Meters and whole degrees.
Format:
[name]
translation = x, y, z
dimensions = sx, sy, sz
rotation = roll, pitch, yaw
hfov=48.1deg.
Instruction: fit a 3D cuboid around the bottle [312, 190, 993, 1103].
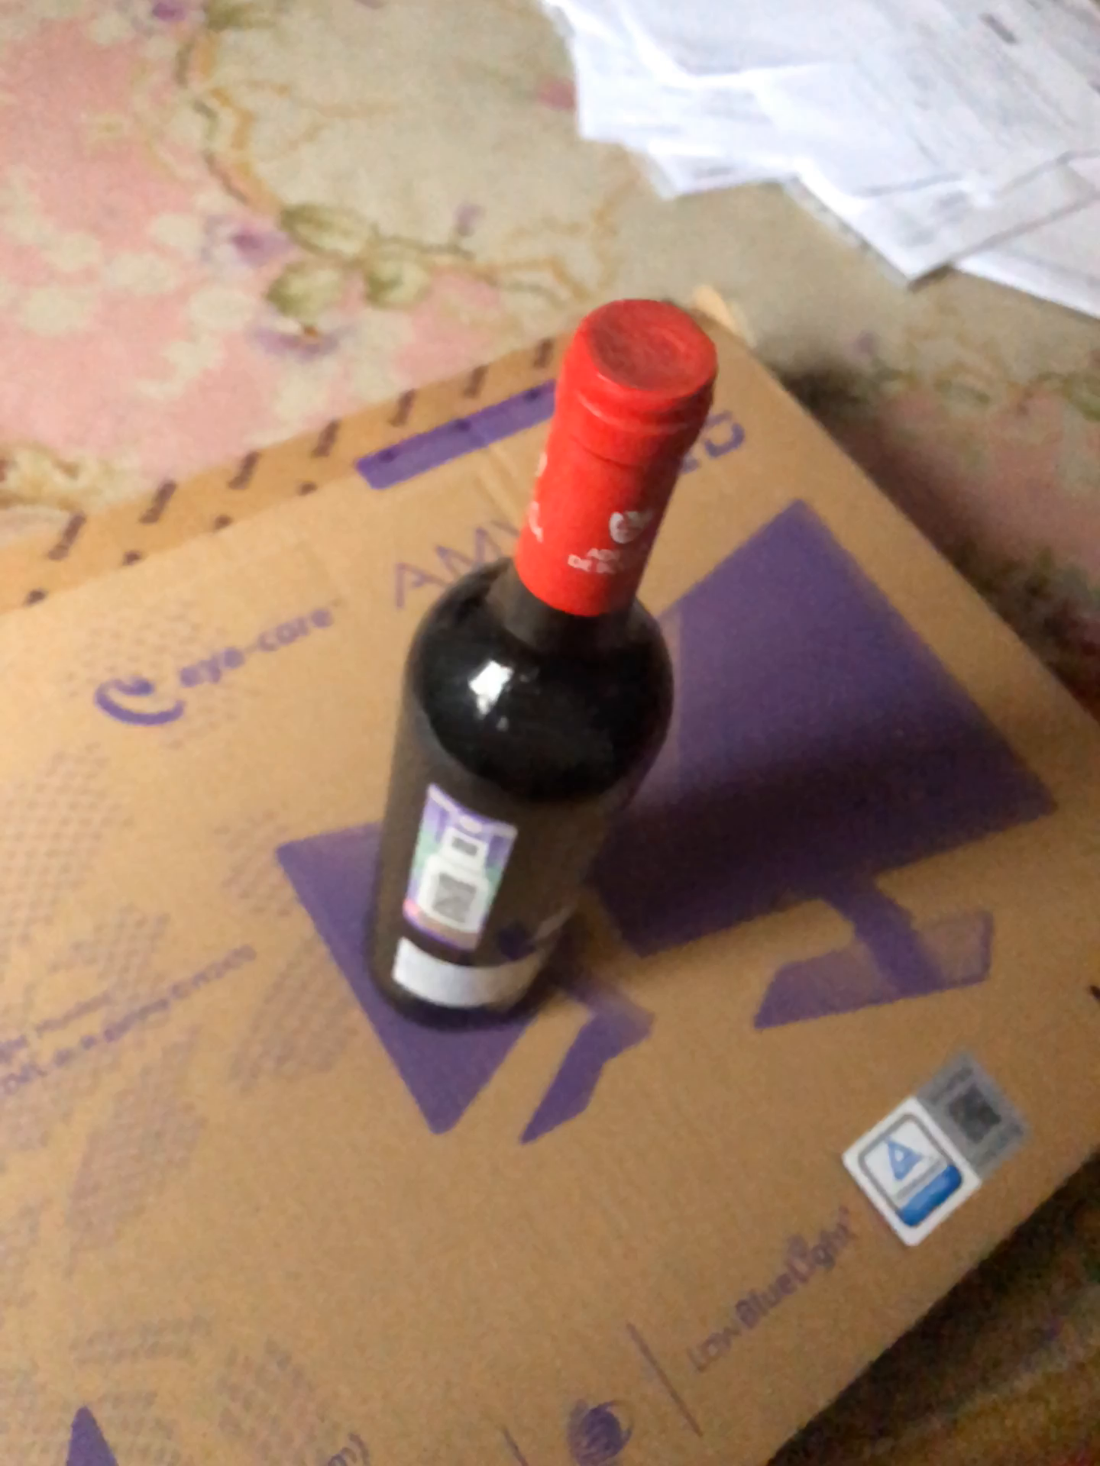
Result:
[bottle]
translation = -0.006, 0.012, 0.353
dimensions = 0.090, 0.299, 0.090
rotation = 5, 61, -9
